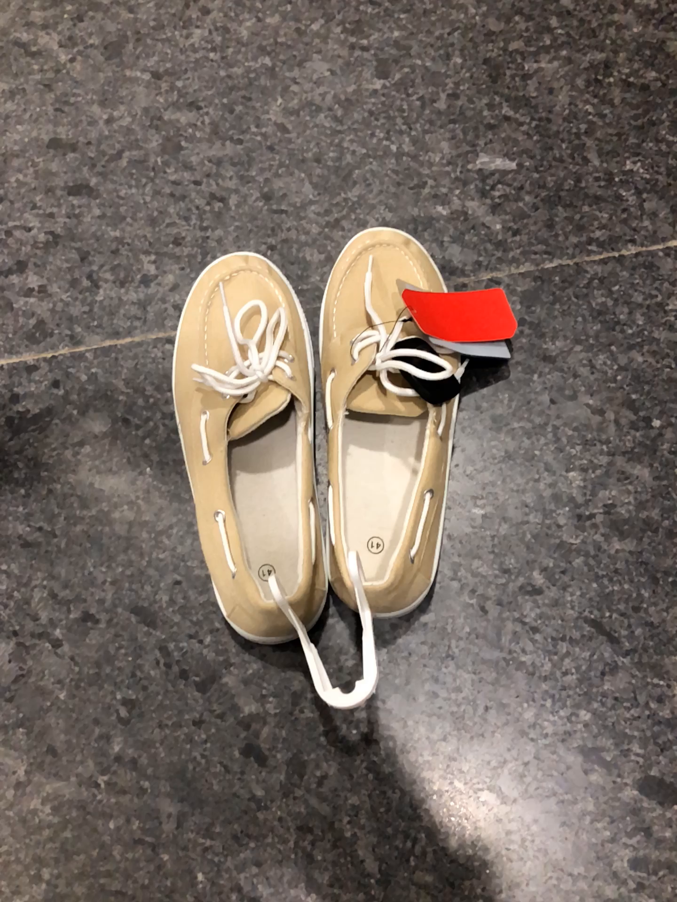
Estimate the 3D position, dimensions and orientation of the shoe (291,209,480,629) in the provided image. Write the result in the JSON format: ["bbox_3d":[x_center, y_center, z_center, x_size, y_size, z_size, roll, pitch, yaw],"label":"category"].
[{"bbox_3d":[0.029,-0.018,0.471,0.096,0.106,0.242,0,71,3],"label":"shoe"}]

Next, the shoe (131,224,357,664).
[{"bbox_3d":[-0.058,-0.002,0.467,0.103,0.106,0.242,-8,70,0],"label":"shoe"}]
